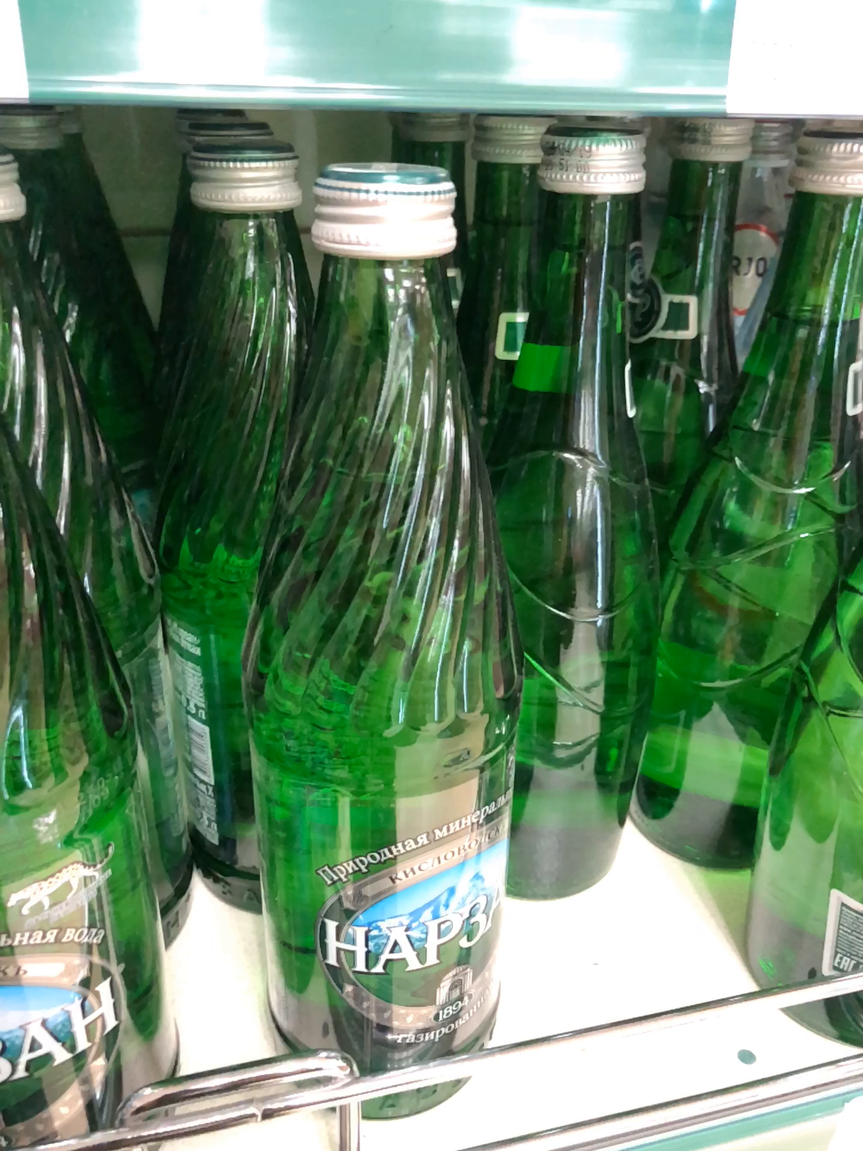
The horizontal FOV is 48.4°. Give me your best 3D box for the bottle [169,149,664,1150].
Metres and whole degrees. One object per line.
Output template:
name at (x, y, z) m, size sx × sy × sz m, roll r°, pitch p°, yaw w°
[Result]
bottle at (-0.009, 0.028, 0.235) m, size 0.080 × 0.240 × 0.060 m, roll -7°, pitch 28°, yaw -16°
